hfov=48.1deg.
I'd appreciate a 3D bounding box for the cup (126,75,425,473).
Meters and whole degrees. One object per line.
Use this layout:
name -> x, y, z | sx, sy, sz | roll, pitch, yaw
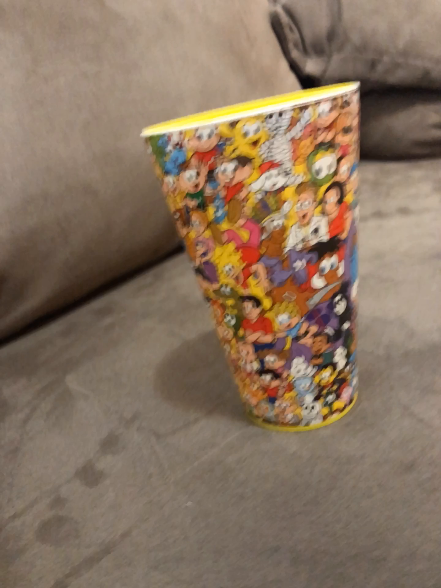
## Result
cup -> 0.023, -0.015, 0.234 | 0.090, 0.139, 0.090 | -12, 21, 5
